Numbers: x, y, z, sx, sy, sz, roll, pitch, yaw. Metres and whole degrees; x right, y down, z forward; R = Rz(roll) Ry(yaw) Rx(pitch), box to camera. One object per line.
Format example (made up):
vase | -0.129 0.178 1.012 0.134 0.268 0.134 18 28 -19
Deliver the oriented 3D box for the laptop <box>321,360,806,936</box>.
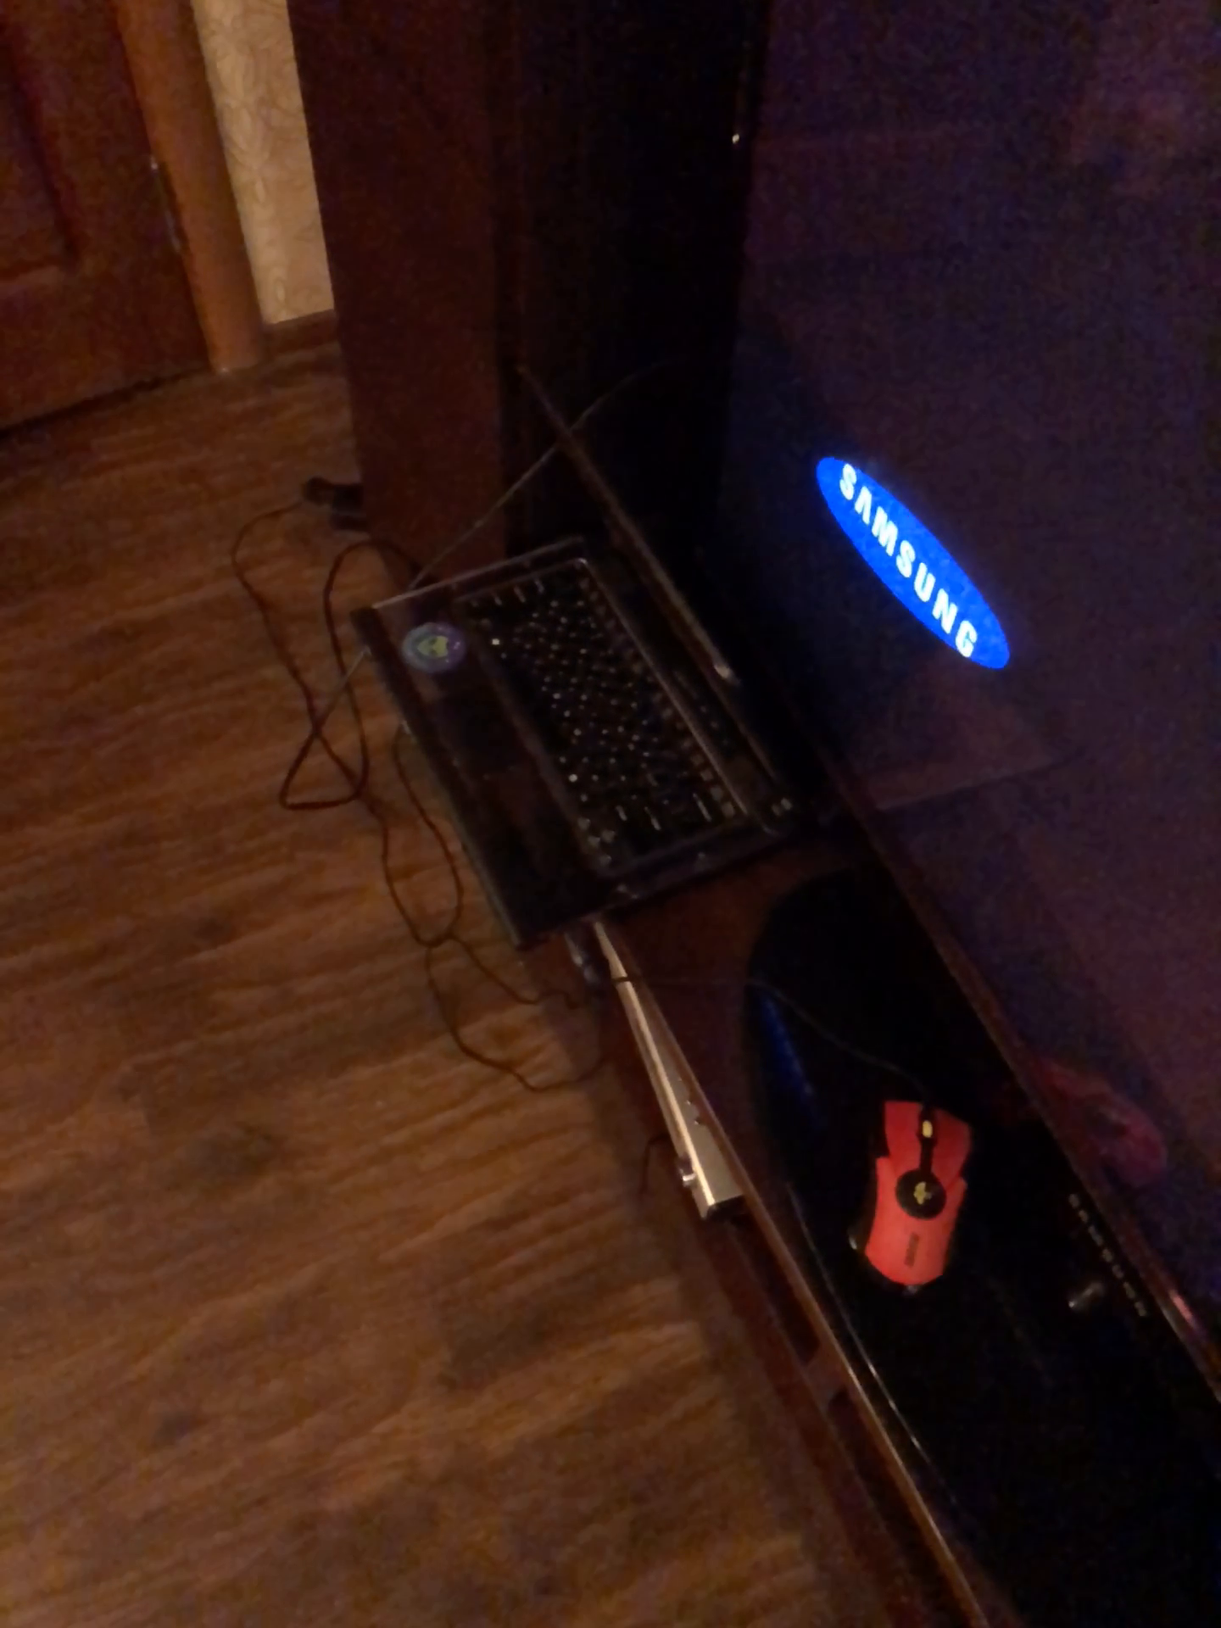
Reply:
laptop | -0.045 -0.128 0.967 0.200 0.183 0.336 -20 59 -16
